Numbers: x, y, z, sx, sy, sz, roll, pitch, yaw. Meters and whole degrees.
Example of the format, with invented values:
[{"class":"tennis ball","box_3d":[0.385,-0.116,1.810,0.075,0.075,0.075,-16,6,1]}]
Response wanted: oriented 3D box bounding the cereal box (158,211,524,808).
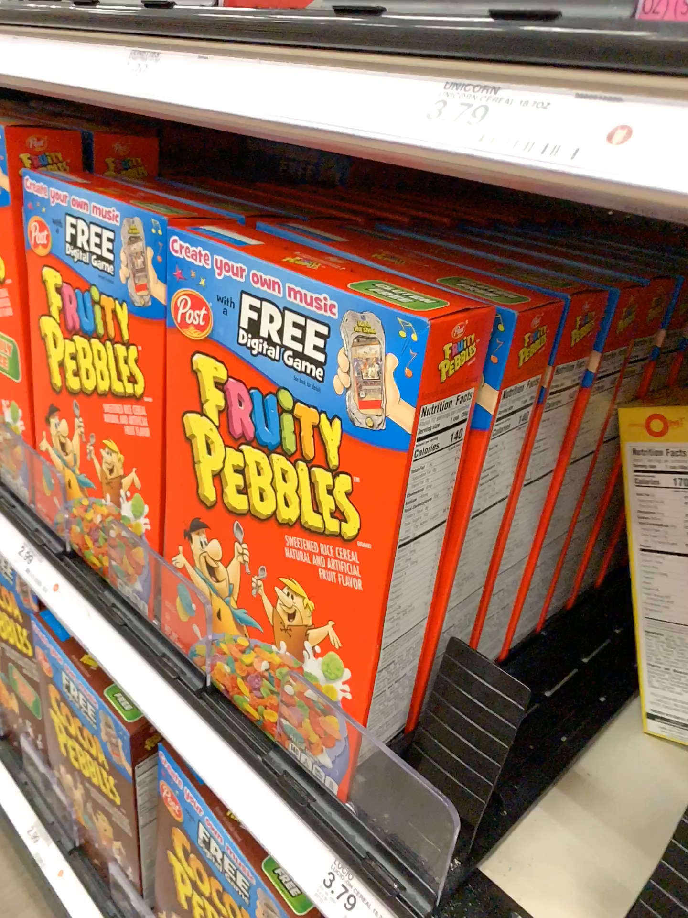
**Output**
[{"class":"cereal box","box_3d":[-0.028,0.023,0.420,0.201,0.289,0.060,29,33,36]}]
